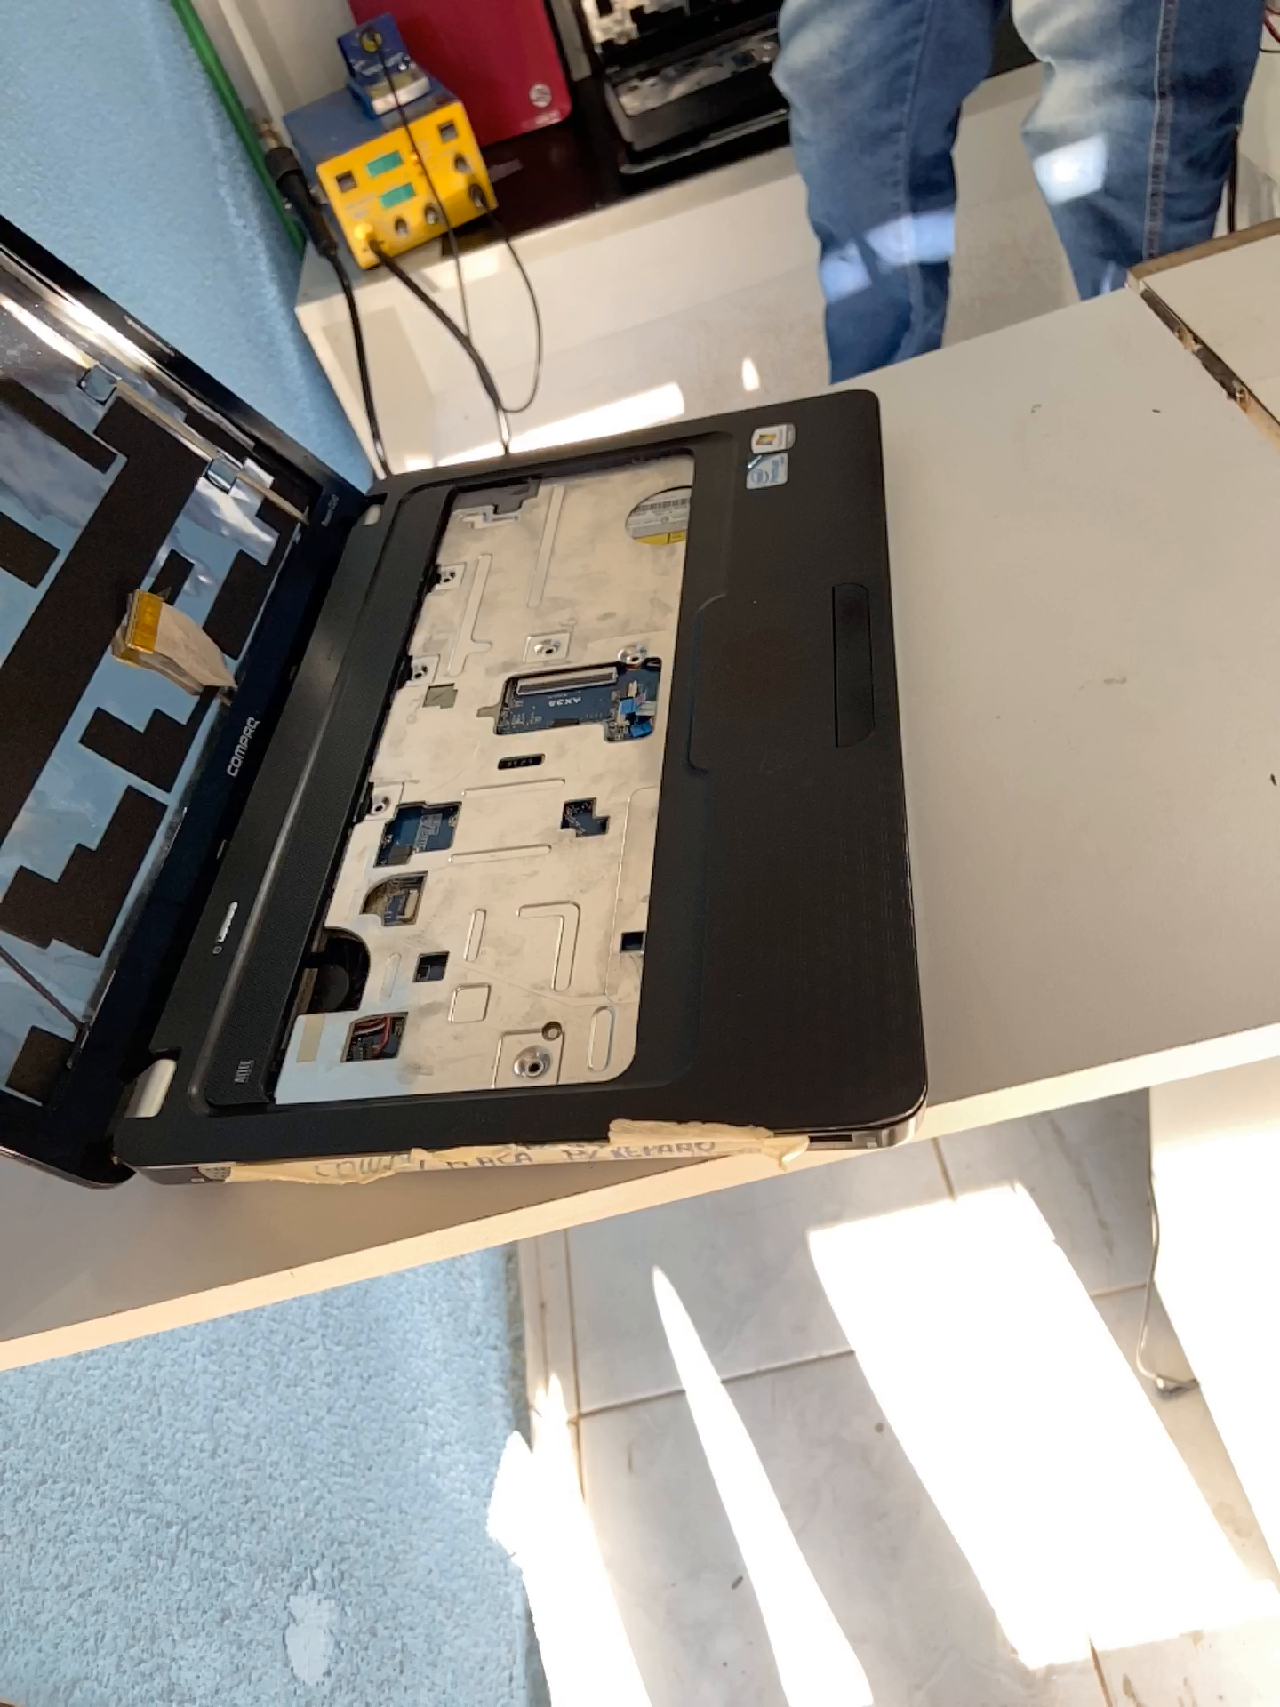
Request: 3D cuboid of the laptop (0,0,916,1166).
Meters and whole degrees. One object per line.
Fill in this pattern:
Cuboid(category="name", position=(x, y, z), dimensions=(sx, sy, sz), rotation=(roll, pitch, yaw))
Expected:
Cuboid(category="laptop", position=(-0.106, -0.103, 0.415), dimensions=(0.336, 0.182, 0.333), rotation=(-7, 48, 15))
